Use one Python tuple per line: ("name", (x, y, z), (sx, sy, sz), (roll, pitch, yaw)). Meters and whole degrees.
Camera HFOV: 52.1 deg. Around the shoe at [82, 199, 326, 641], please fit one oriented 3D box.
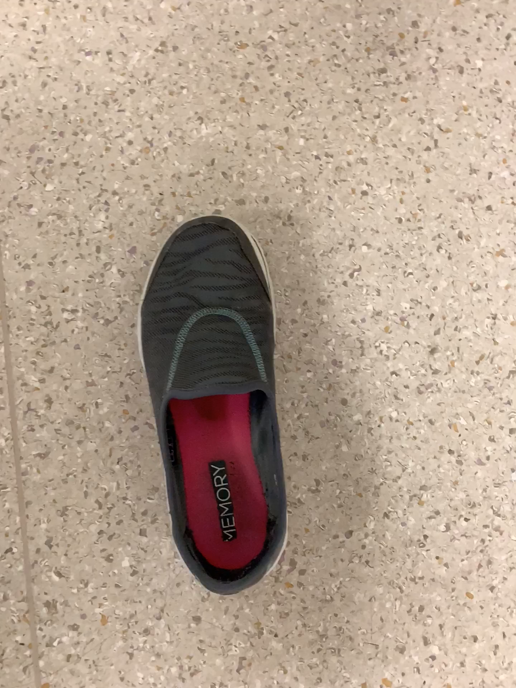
("shoe", (-0.033, 0.043, 0.342), (0.102, 0.075, 0.239), (-10, 87, -1))
